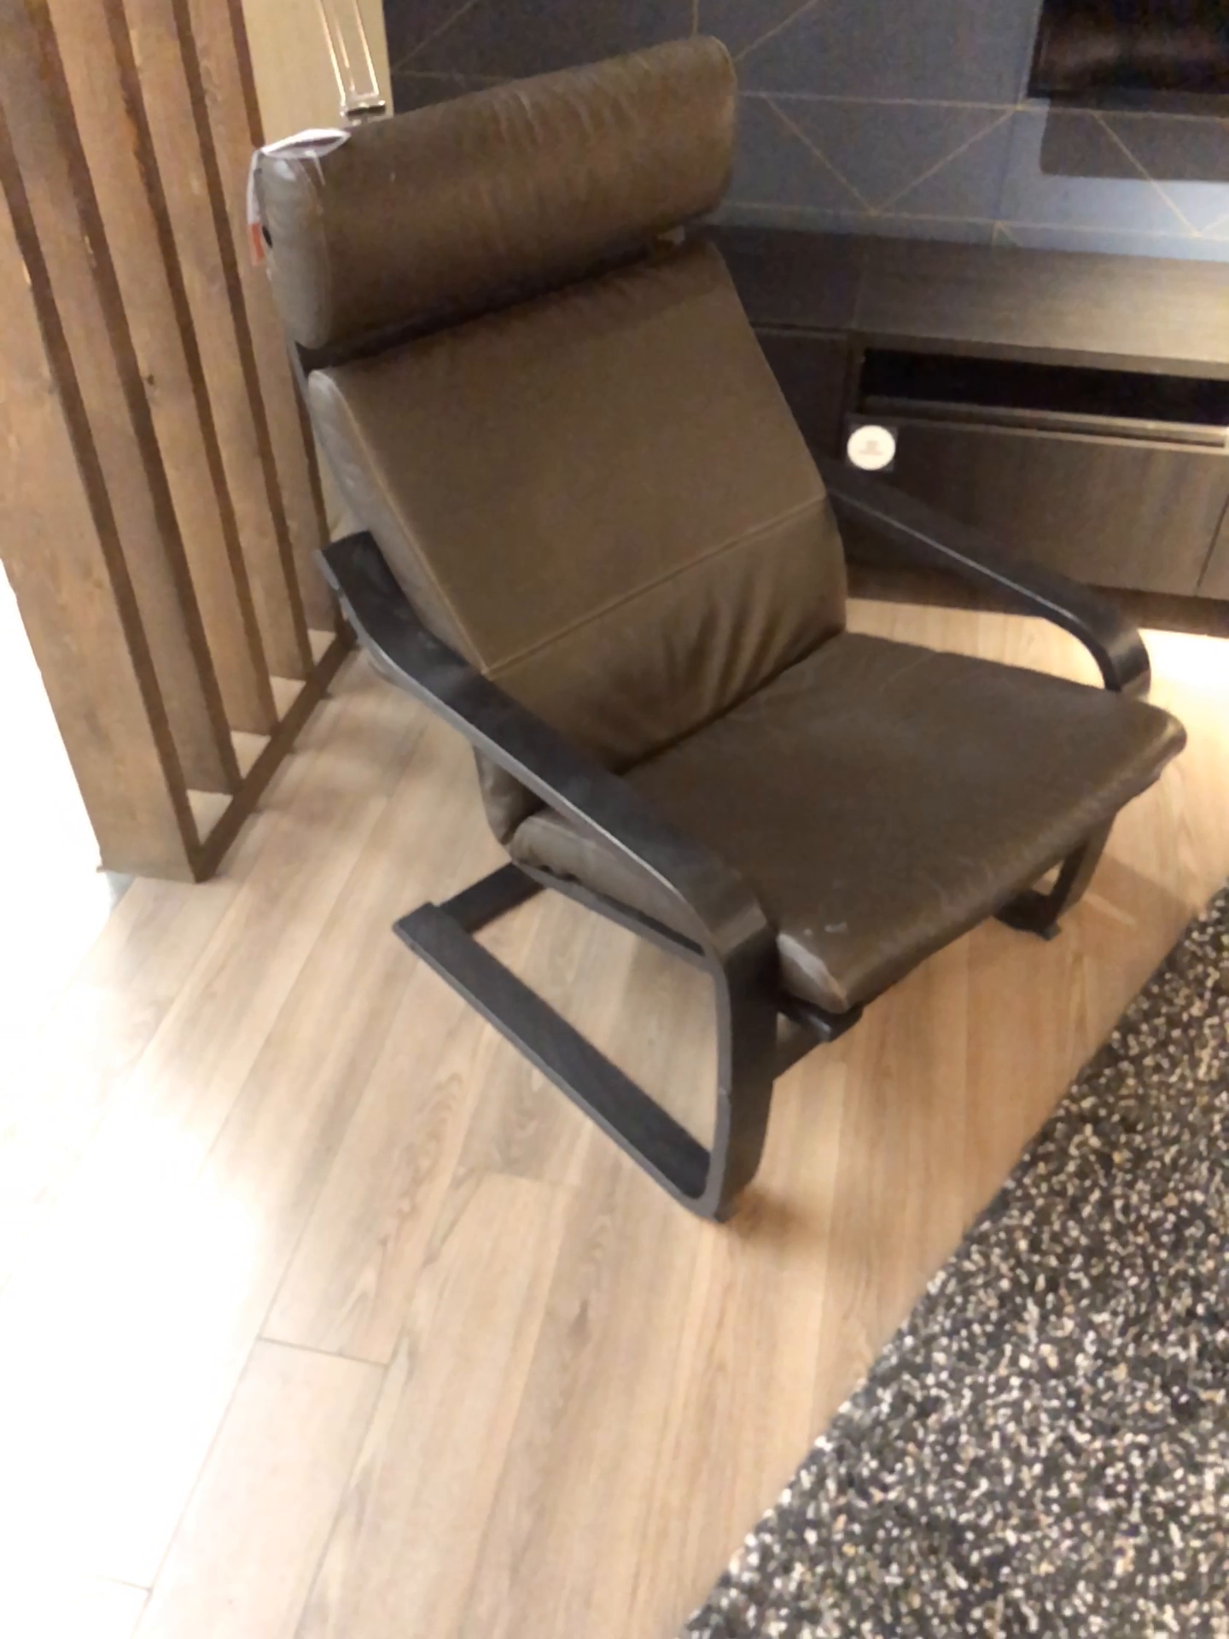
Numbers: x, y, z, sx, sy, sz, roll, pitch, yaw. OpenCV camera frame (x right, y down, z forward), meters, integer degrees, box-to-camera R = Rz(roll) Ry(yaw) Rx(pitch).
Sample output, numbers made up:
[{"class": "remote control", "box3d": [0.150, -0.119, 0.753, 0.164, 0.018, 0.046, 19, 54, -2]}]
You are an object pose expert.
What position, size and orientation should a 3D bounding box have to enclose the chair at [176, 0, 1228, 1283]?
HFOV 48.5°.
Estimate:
[{"class": "chair", "box3d": [0.174, -0.237, 1.418, 0.782, 0.876, 0.731, -32, 51, -30]}]
